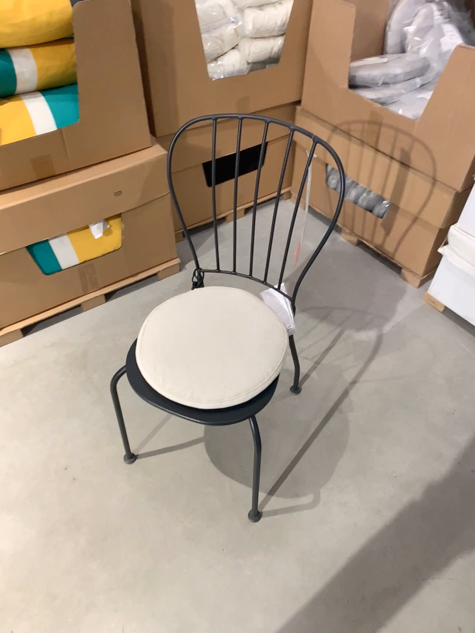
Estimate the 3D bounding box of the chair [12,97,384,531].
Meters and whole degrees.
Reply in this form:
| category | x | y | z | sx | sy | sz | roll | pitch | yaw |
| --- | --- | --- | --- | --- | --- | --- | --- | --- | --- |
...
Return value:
| category | x | y | z | sx | sy | sz | roll | pitch | yaw |
| --- | --- | --- | --- | --- | --- | --- | --- | --- | --- |
| chair | -0.042 | 0.027 | 1.172 | 0.480 | 0.817 | 0.521 | 20 | 50 | 16 |
